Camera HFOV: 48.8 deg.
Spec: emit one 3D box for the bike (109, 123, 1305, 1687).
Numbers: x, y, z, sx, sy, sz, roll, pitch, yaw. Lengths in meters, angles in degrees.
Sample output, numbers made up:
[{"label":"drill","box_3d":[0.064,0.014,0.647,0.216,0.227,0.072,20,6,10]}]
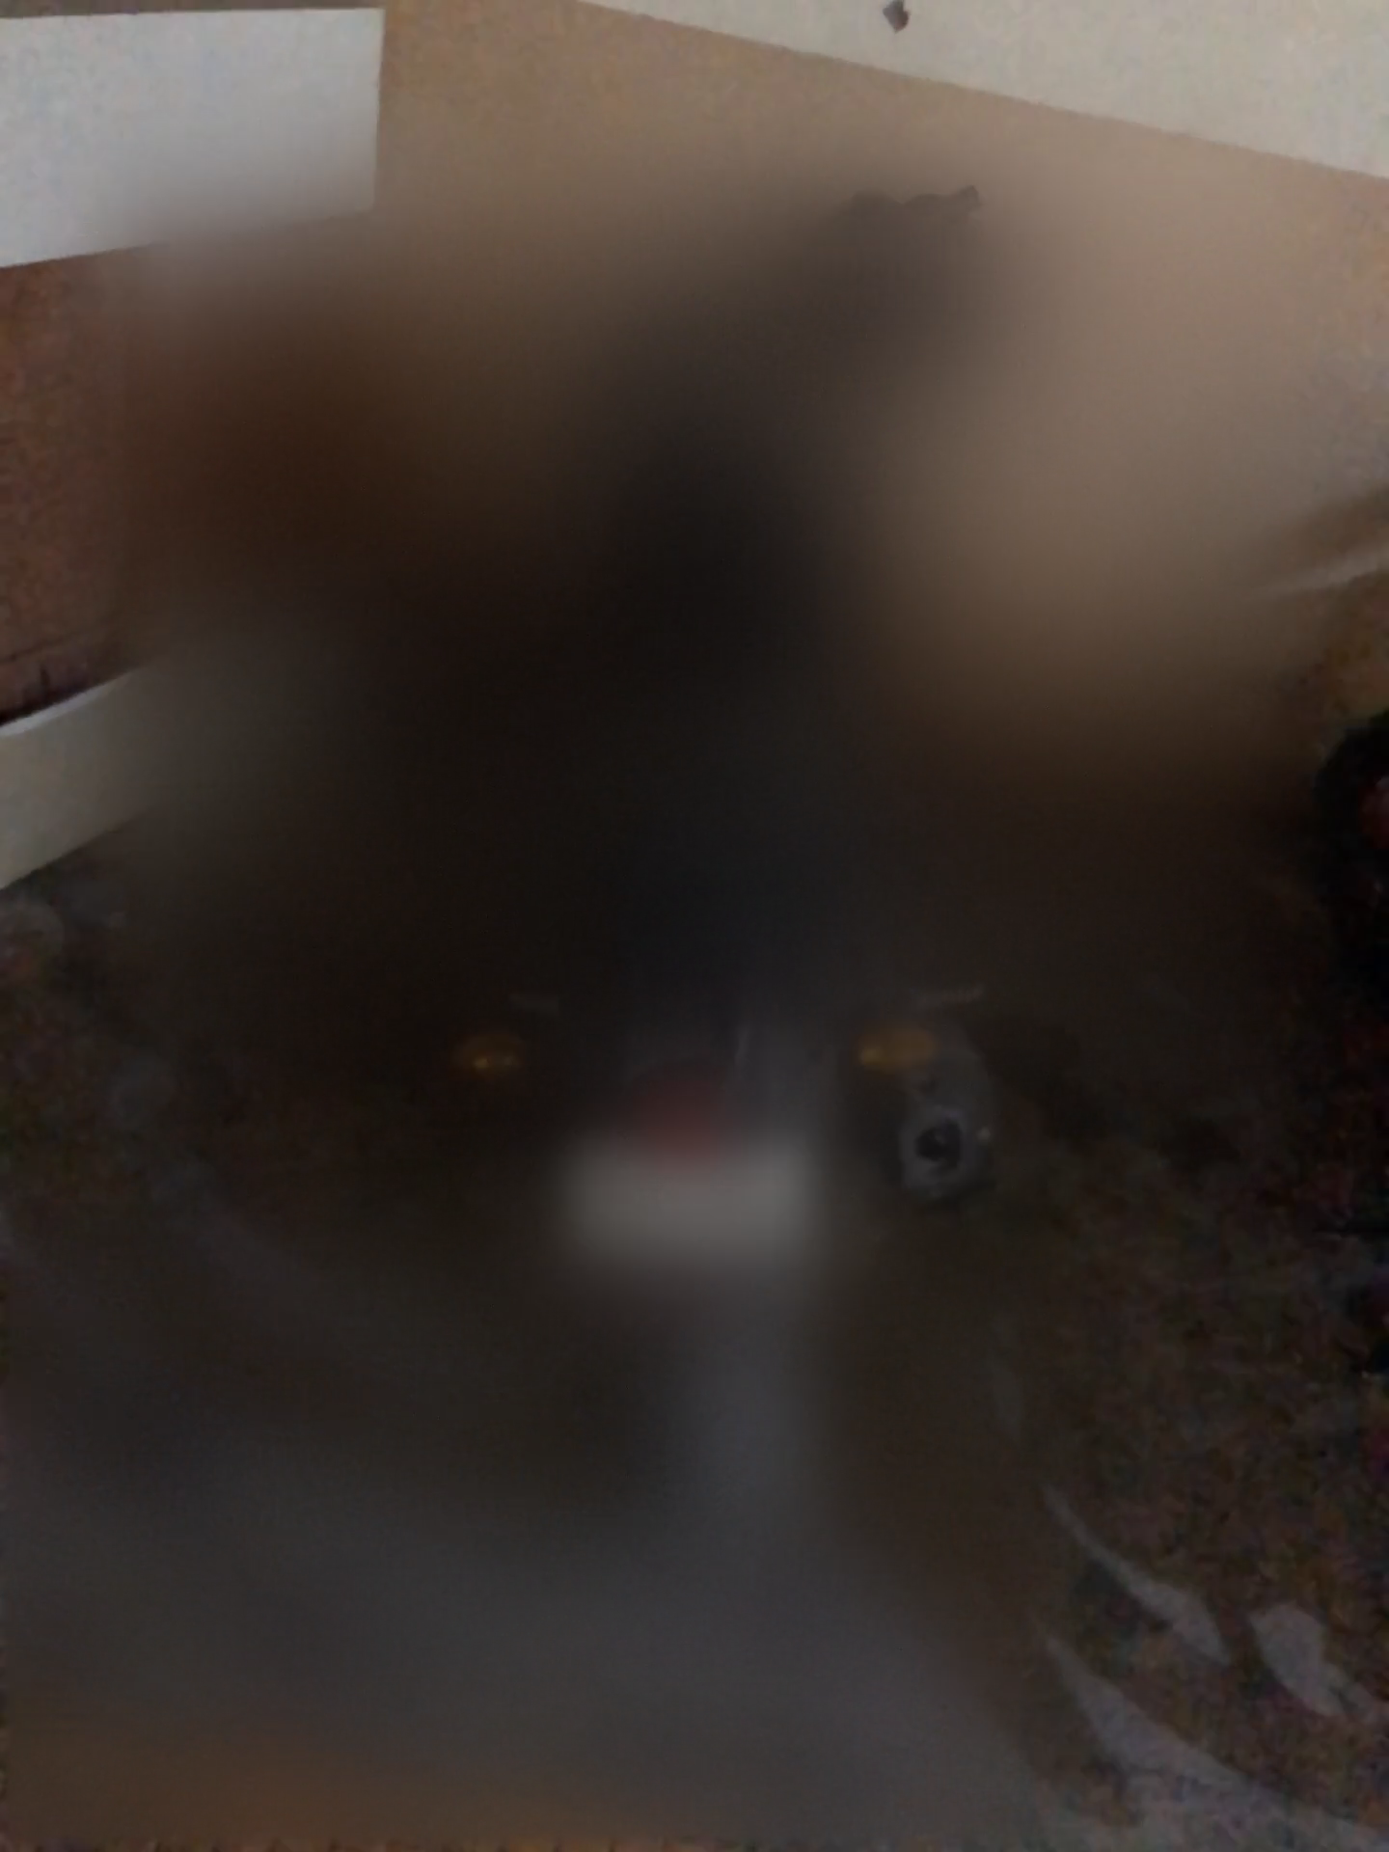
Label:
[{"label":"bike","box_3d":[-0.066,-0.201,1.961,0.717,1.179,1.712,9,35,-4]}]
